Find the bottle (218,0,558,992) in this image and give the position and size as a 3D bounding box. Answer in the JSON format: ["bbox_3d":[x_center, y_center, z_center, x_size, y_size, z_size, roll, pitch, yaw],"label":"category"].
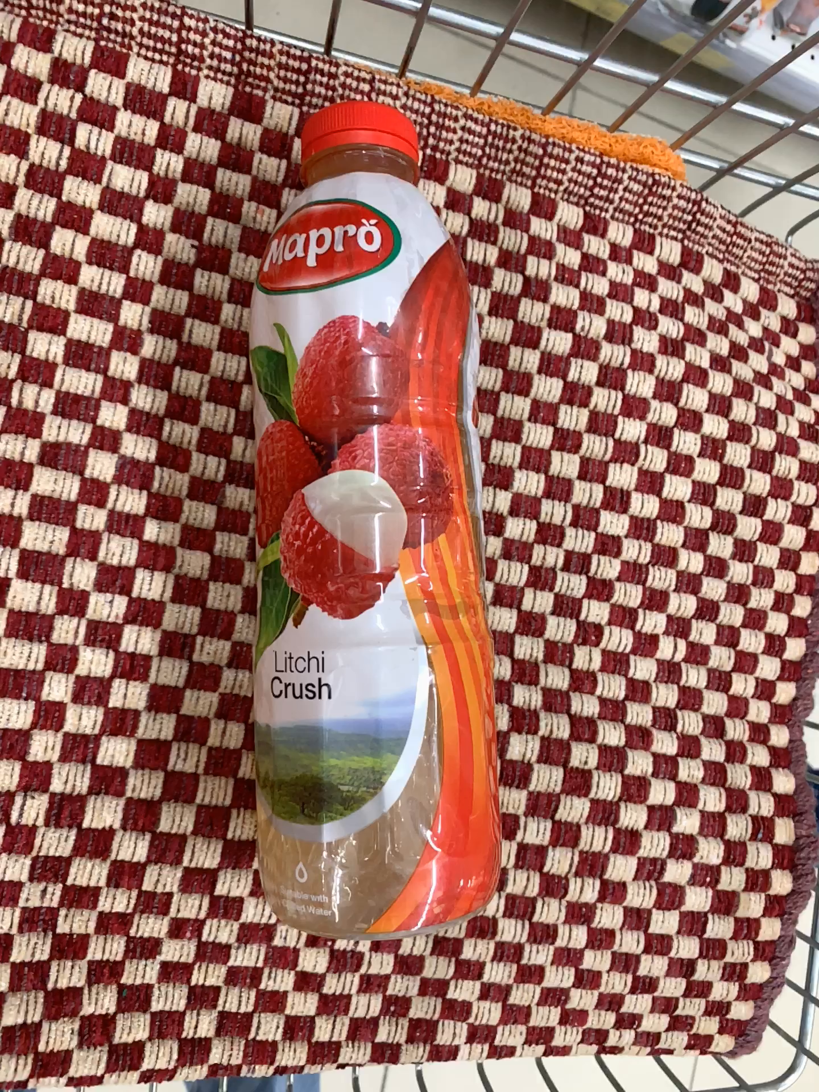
[{"bbox_3d":[-0.004,-0.012,0.257,0.080,0.070,0.240,1,88,-58],"label":"bottle"}]
